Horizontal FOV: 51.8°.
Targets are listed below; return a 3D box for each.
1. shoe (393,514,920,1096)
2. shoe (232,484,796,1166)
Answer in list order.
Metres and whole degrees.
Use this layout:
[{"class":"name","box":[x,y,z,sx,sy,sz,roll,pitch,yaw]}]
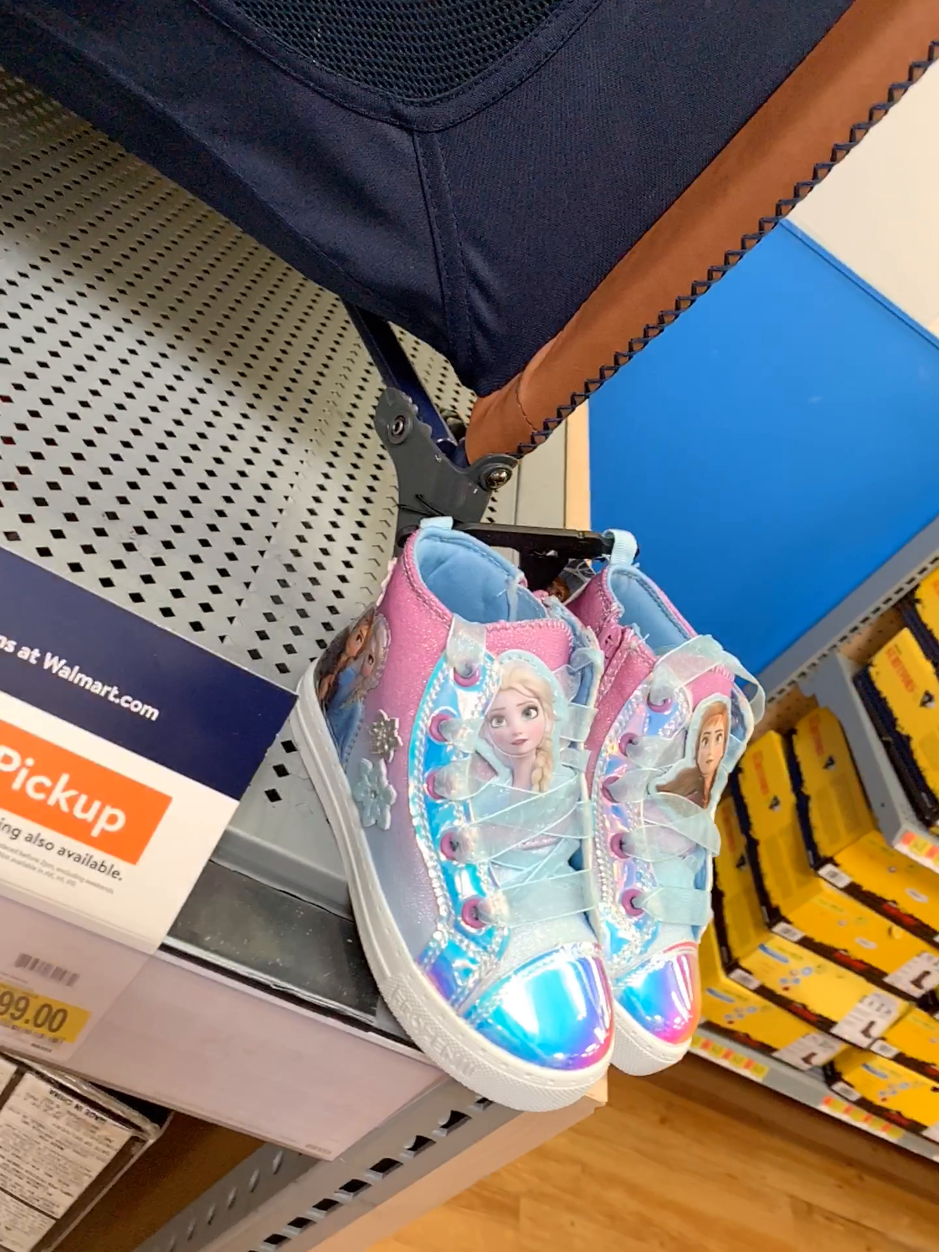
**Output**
[{"class":"shoe","box":[0.064,0.064,0.386,0.090,0.102,0.183,10,43,-46]},{"class":"shoe","box":[0.002,0.058,0.329,0.080,0.102,0.183,4,48,-43]}]
